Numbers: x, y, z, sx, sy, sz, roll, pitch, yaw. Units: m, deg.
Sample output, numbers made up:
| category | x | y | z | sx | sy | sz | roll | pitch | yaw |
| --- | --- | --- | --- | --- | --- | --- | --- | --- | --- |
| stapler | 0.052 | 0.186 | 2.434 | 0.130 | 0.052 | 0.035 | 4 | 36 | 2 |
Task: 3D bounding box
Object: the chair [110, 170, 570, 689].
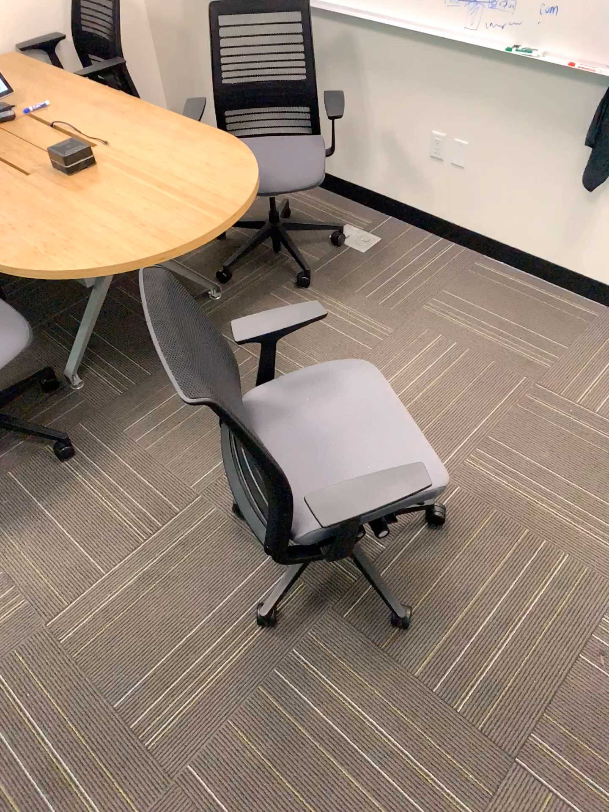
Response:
| category | x | y | z | sx | sy | sz | roll | pitch | yaw |
| --- | --- | --- | --- | --- | --- | --- | --- | --- | --- |
| chair | 0.037 | 0.097 | 1.554 | 0.690 | 0.995 | 0.653 | -16 | 49 | -10 |
